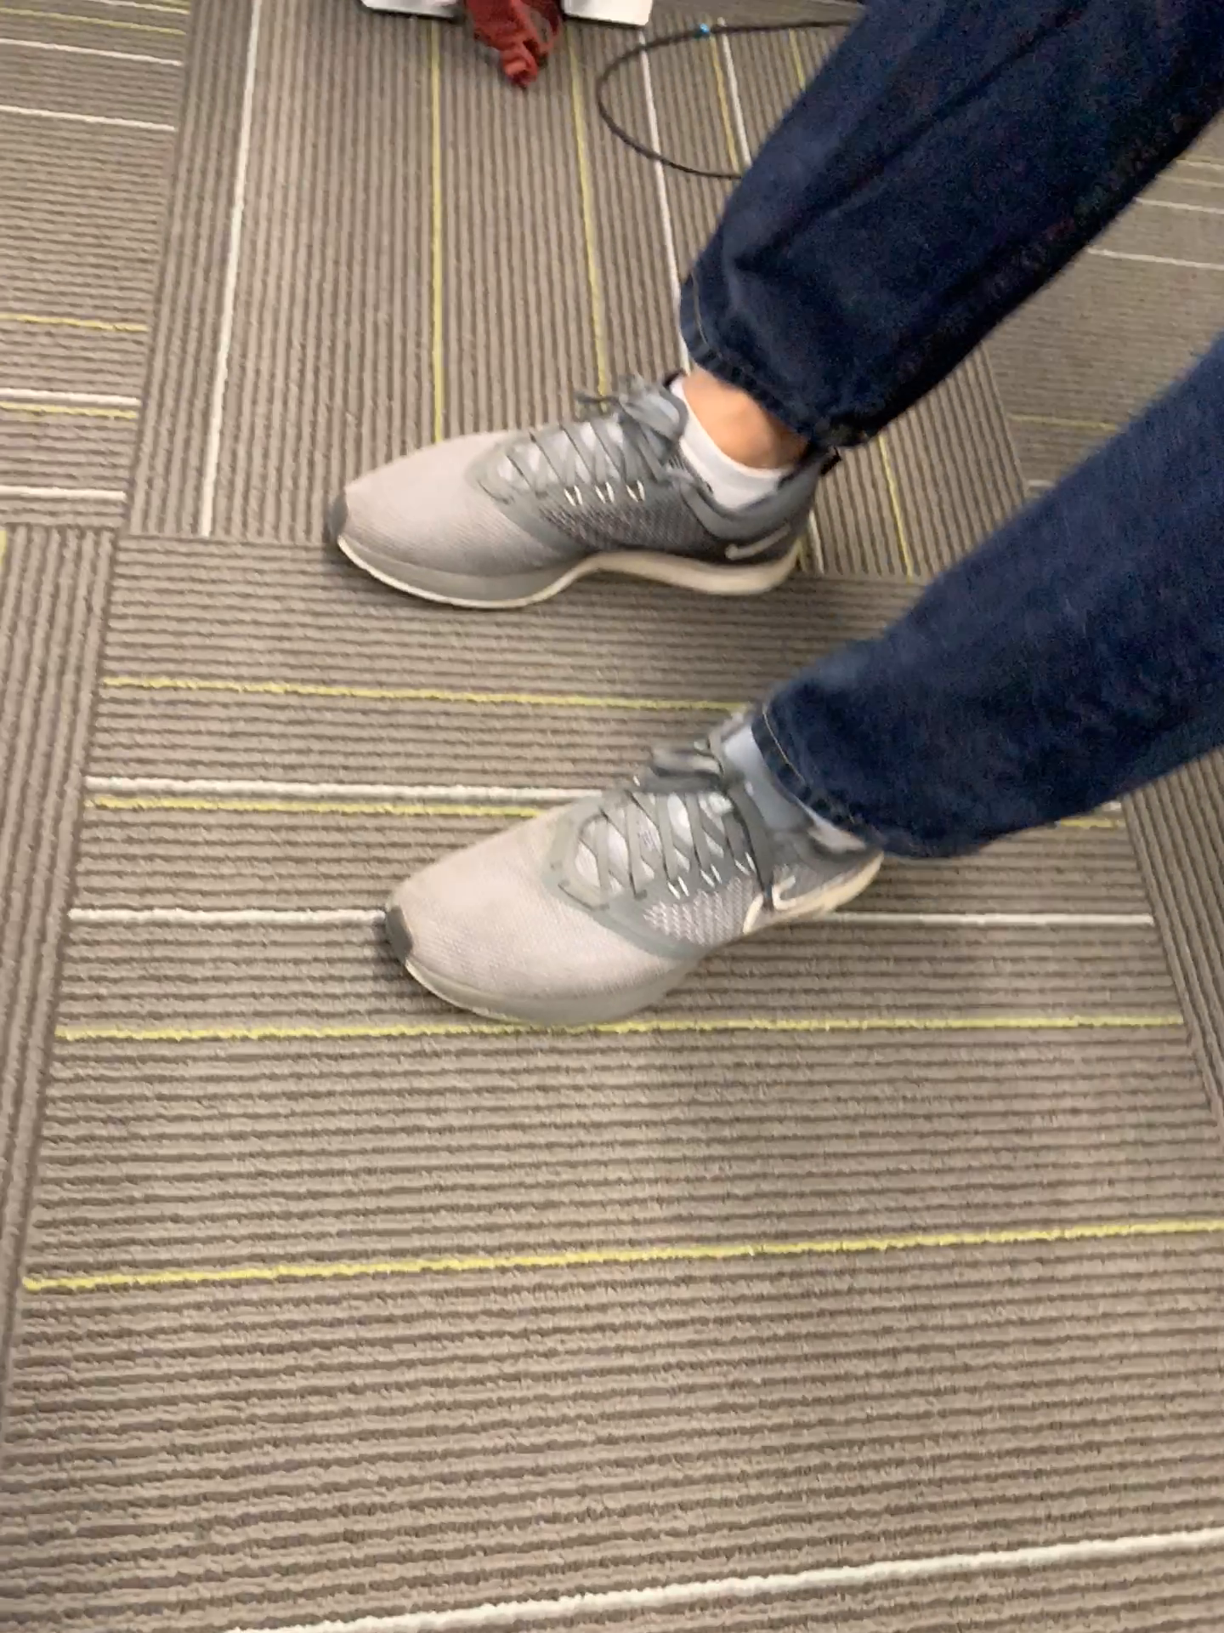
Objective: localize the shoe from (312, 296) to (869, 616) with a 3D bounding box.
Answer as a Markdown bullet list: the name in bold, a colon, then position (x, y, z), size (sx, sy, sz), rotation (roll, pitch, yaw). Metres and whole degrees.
- **shoe**: position (-0.021, -0.208, 0.734), size (0.290, 0.123, 0.120), rotation (-4, 64, -13)

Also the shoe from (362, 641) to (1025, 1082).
- **shoe**: position (0.032, 0.021, 0.634), size (0.290, 0.123, 0.120), rotation (-13, 67, -17)
